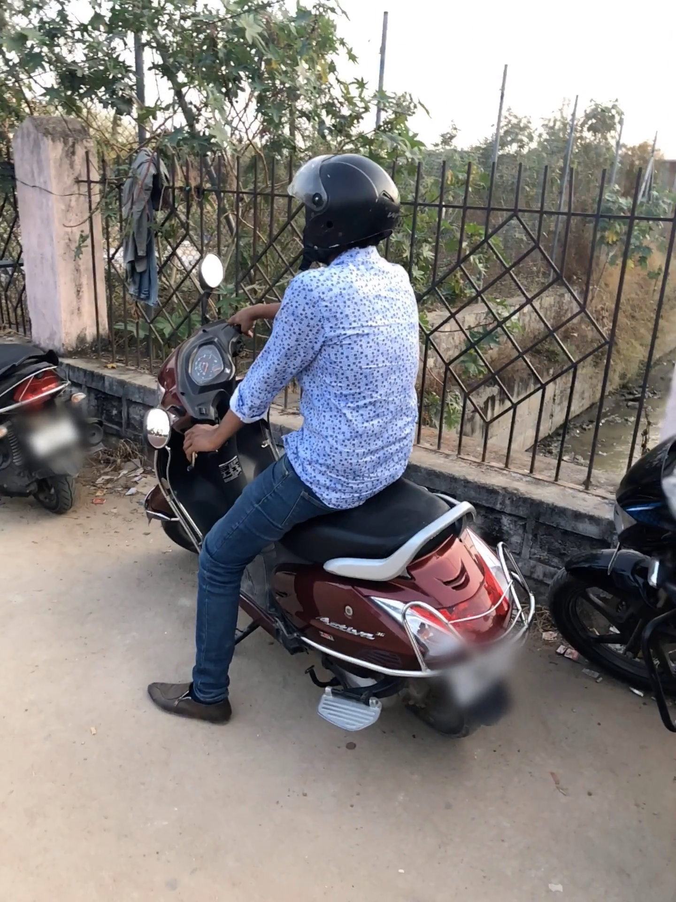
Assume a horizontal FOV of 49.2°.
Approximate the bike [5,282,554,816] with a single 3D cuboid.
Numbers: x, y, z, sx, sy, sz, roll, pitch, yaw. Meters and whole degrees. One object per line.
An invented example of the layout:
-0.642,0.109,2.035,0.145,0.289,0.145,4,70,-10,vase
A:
-0.280,0.122,2.190,1.490,0.964,0.578,21,26,37,bike
